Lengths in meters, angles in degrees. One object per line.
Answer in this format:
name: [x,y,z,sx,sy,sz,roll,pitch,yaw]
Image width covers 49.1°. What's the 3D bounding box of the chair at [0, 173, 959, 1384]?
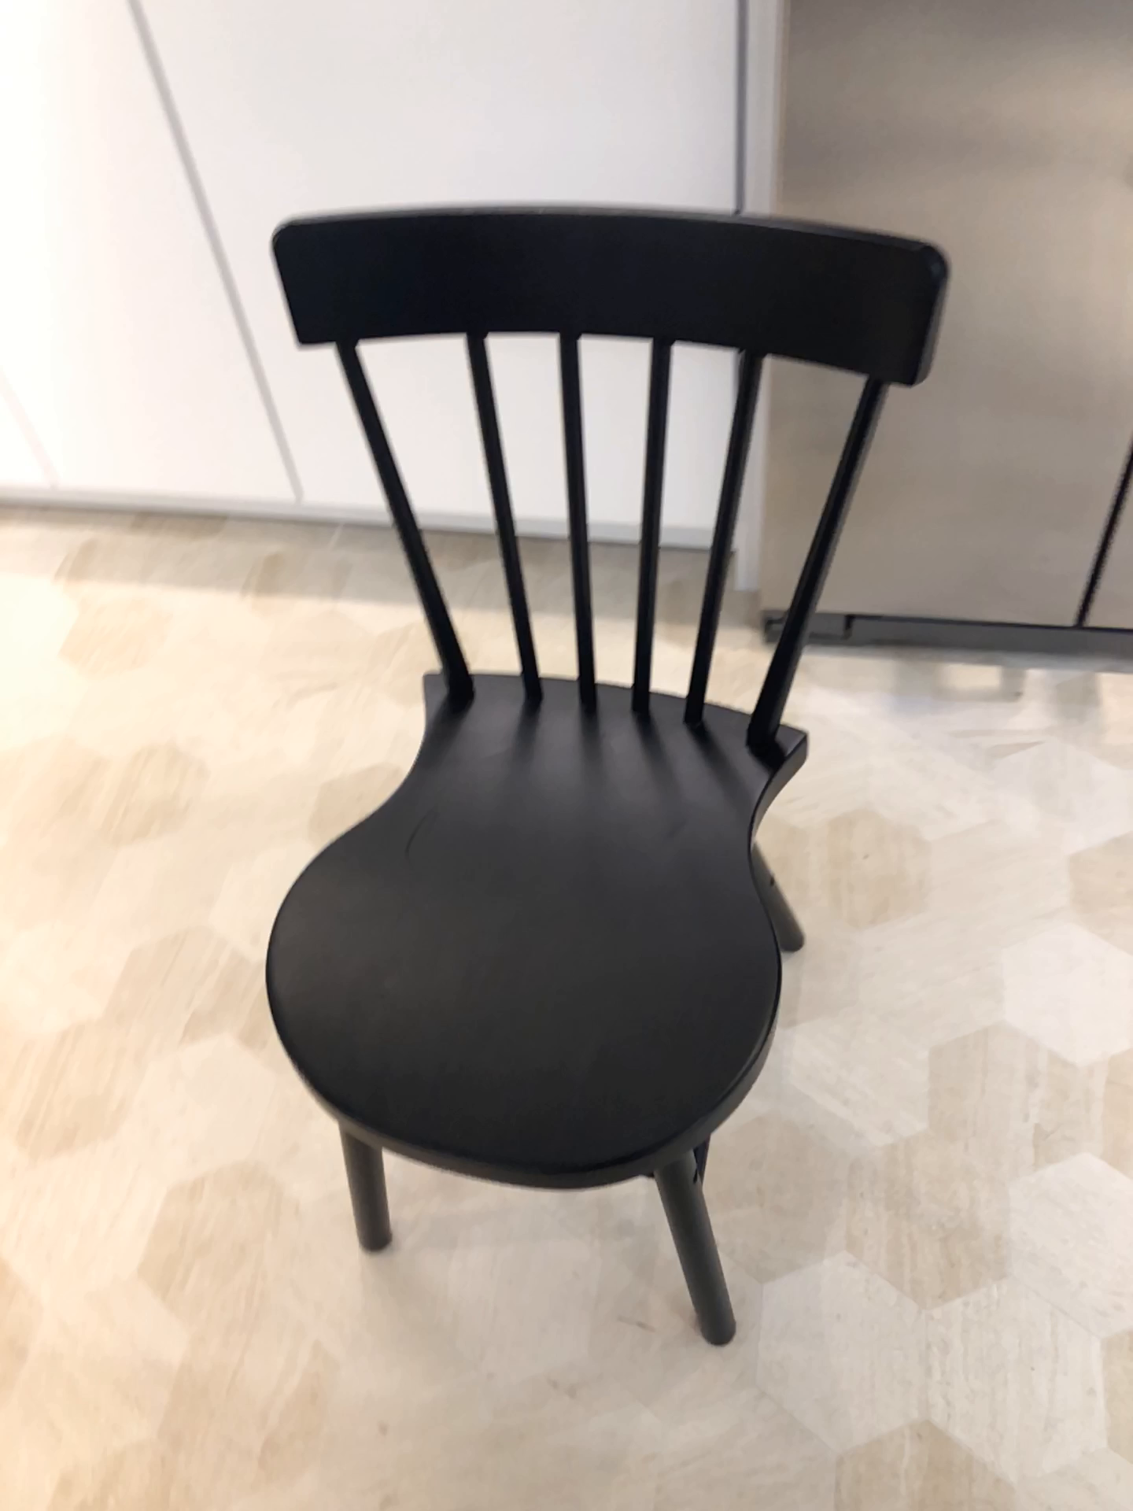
chair: [-0.027,0.059,0.951,0.481,0.746,0.512,9,54,14]
